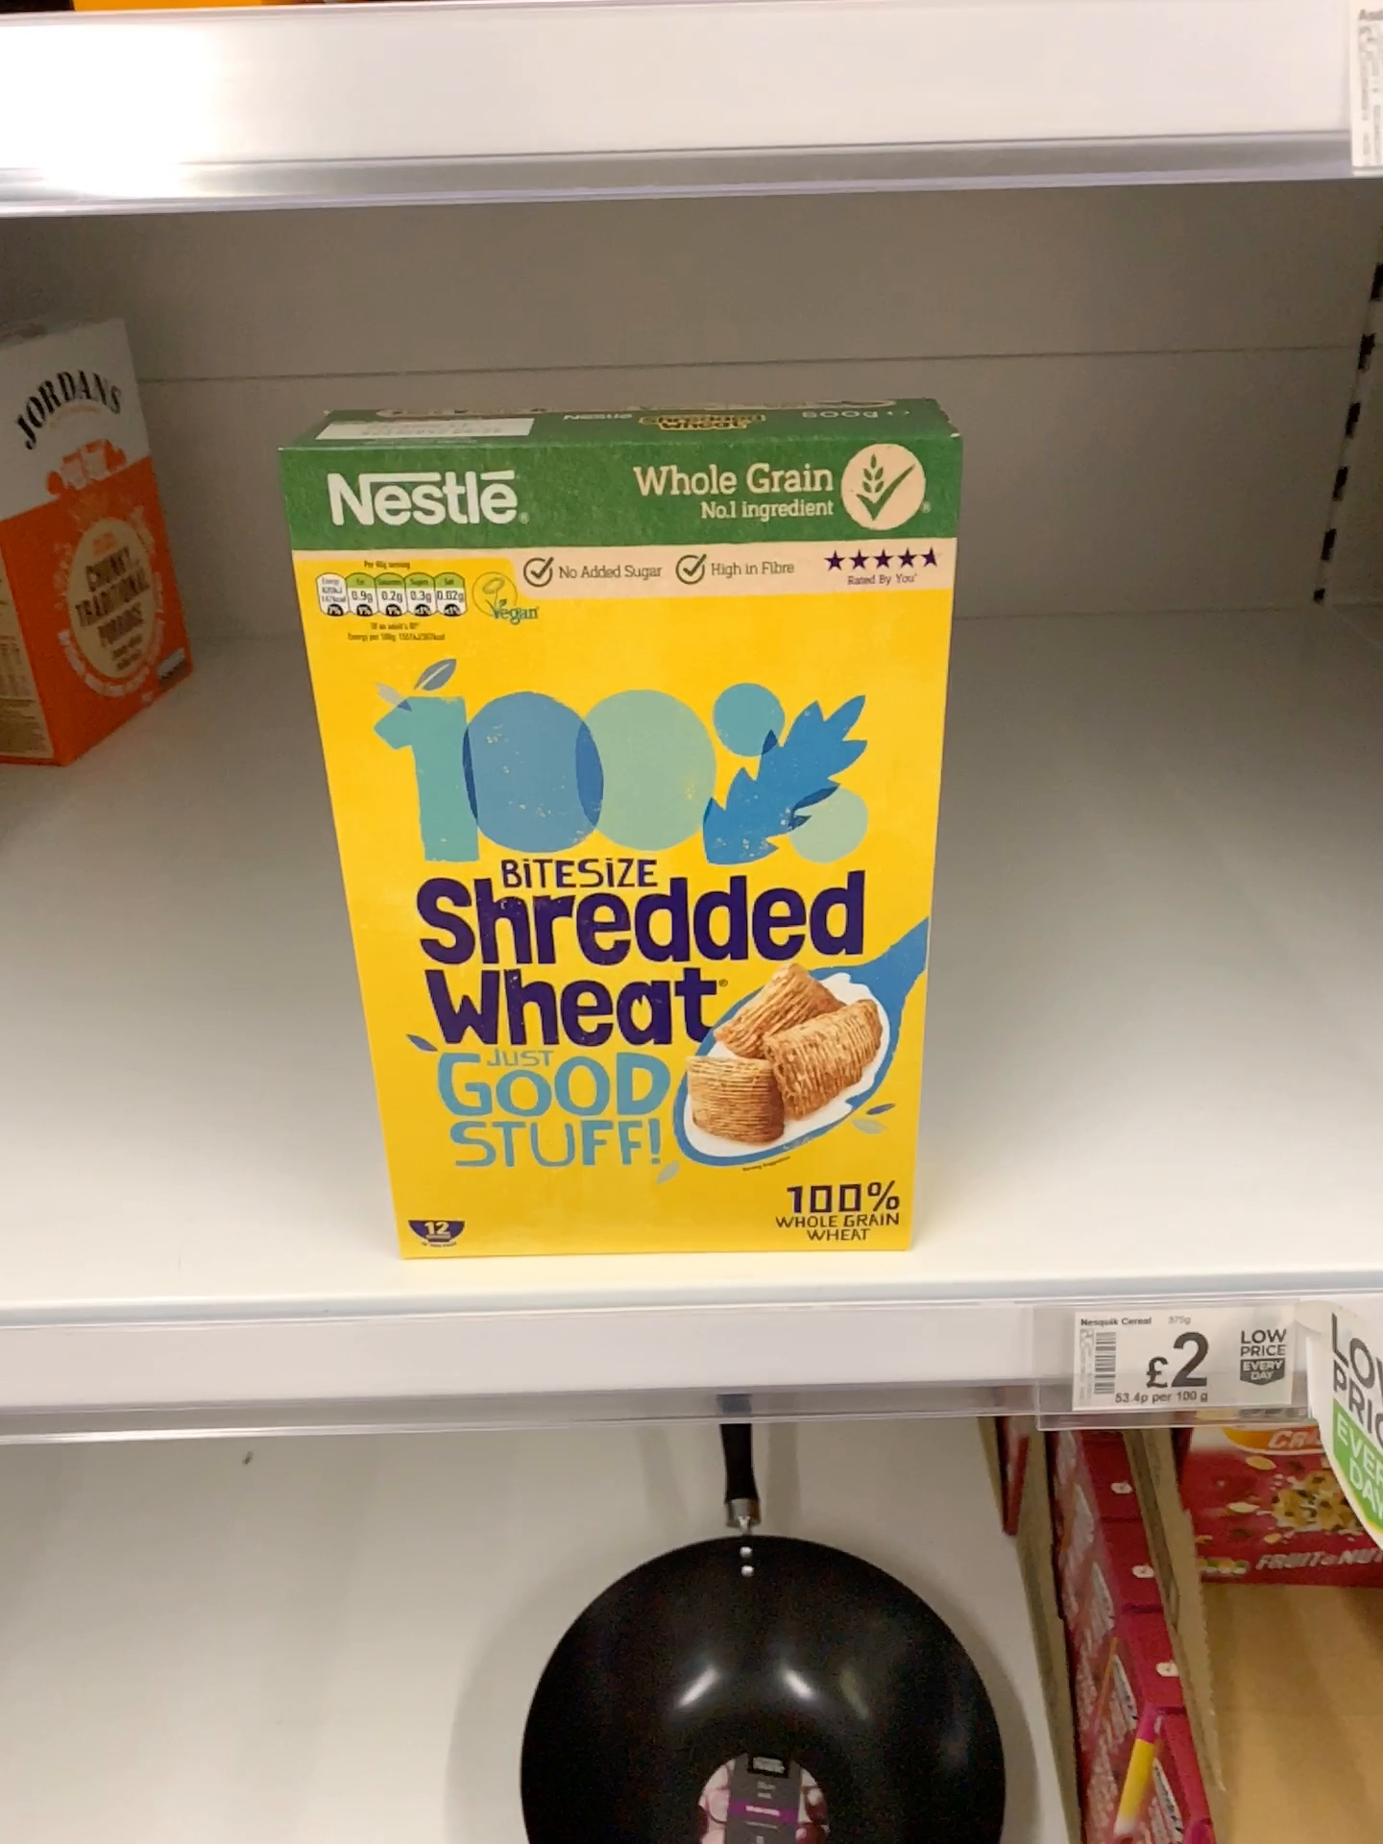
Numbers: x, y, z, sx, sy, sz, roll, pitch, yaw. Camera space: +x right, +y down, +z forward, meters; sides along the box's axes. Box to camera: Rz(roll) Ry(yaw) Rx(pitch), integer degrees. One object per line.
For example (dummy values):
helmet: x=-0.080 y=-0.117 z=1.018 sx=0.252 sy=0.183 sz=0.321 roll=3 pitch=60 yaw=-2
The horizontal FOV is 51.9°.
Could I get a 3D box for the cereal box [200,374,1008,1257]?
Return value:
cereal box: x=-0.019 y=-0.024 z=0.465 sx=0.210 sy=0.277 sz=0.071 roll=-1 pitch=28 yaw=1
